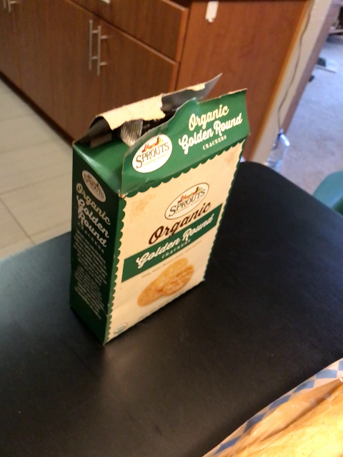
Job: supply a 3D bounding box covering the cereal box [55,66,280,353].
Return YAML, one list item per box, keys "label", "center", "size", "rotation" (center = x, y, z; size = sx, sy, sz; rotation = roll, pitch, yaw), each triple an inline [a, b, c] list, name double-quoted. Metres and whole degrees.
- label: "cereal box"
  center: [-0.015, -0.013, 0.381]
  size: [0.171, 0.248, 0.080]
  rotation: [-27, 55, -35]
